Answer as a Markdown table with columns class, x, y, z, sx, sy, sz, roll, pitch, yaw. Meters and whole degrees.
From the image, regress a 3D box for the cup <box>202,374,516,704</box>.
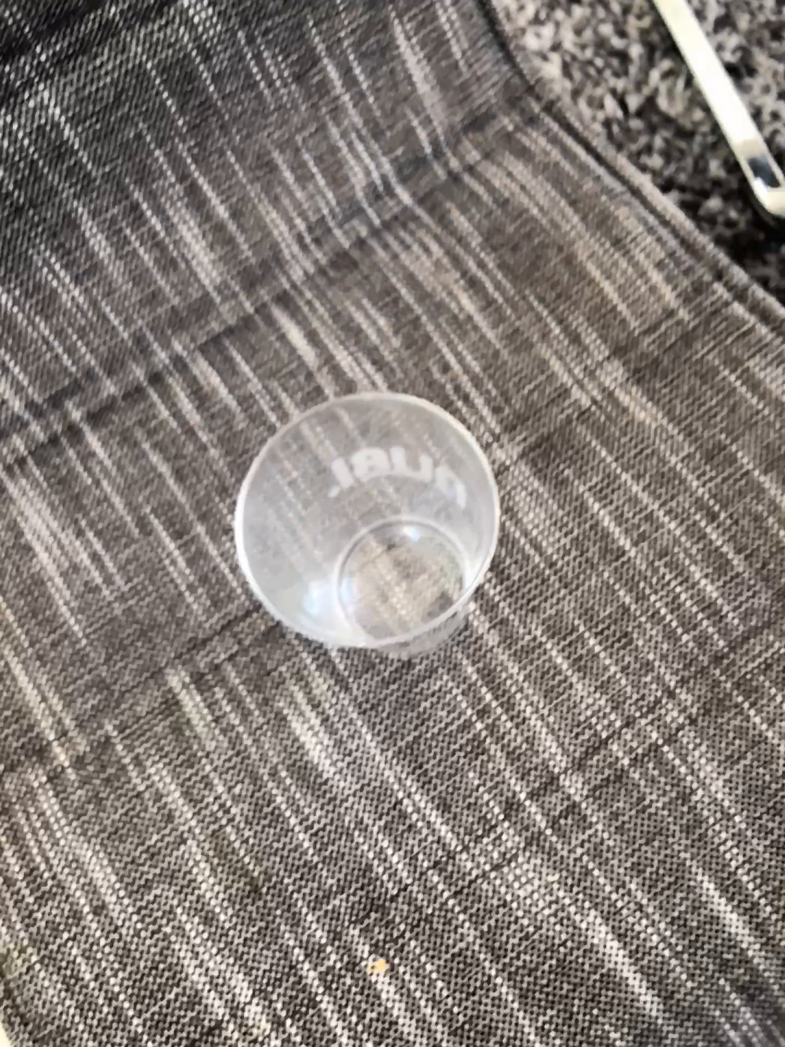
| class | x | y | z | sx | sy | sz | roll | pitch | yaw |
| --- | --- | --- | --- | --- | --- | --- | --- | --- | --- |
| cup | -0.003 | 0.011 | 0.315 | 0.080 | 0.100 | 0.080 | -2 | 71 | 7 |
